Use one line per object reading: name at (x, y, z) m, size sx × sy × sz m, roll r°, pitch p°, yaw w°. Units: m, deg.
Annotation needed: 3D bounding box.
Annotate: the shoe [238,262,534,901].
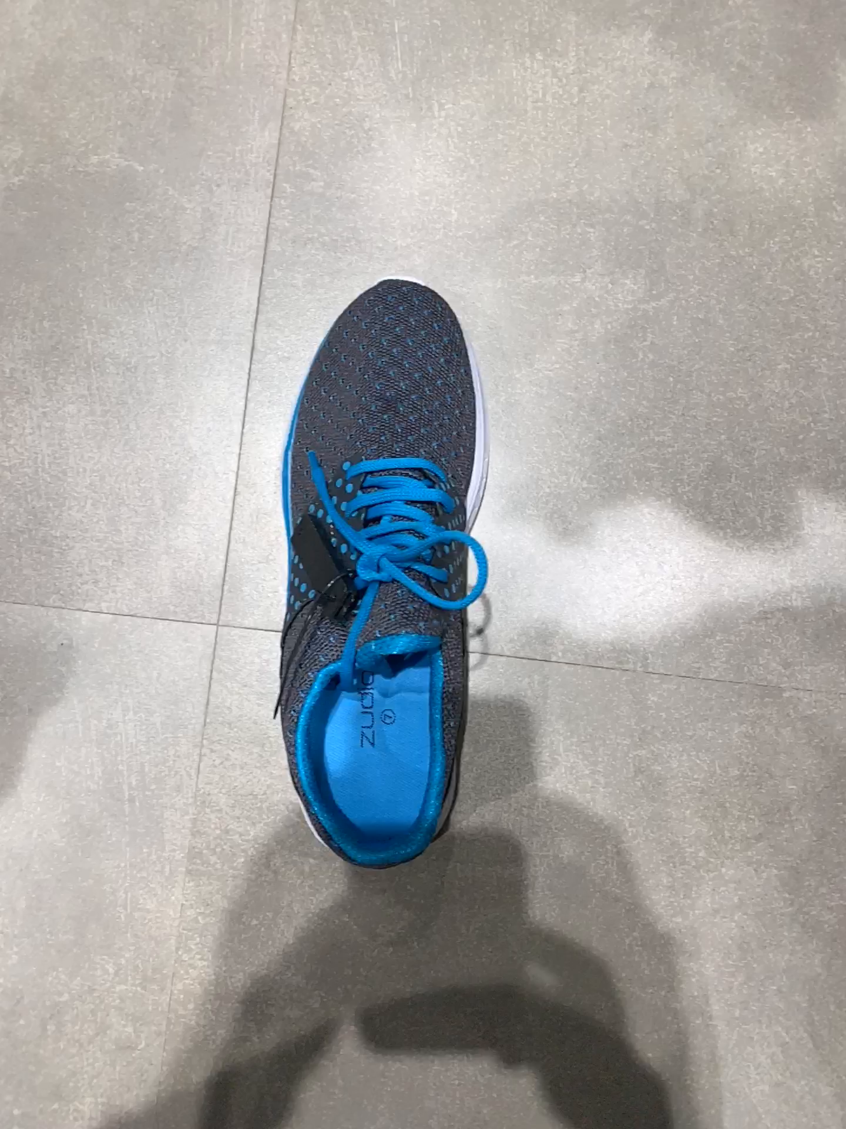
shoe at (-0.015, 0.007, 0.360) m, size 0.102 × 0.102 × 0.227 m, roll -1°, pitch 85°, yaw -1°
